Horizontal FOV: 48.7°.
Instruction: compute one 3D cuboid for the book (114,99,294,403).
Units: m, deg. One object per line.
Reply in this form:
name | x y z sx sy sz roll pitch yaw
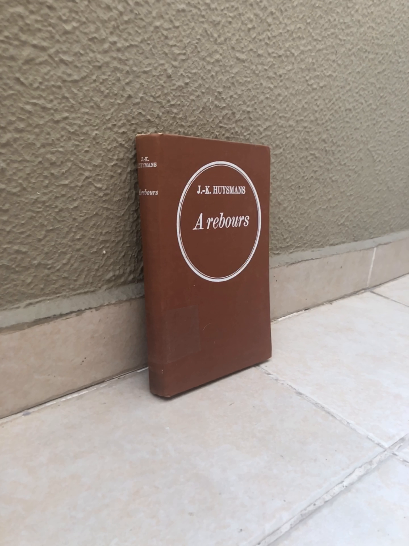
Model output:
book | 0.009 -0.022 0.375 0.150 0.209 0.040 -10 10 -41
